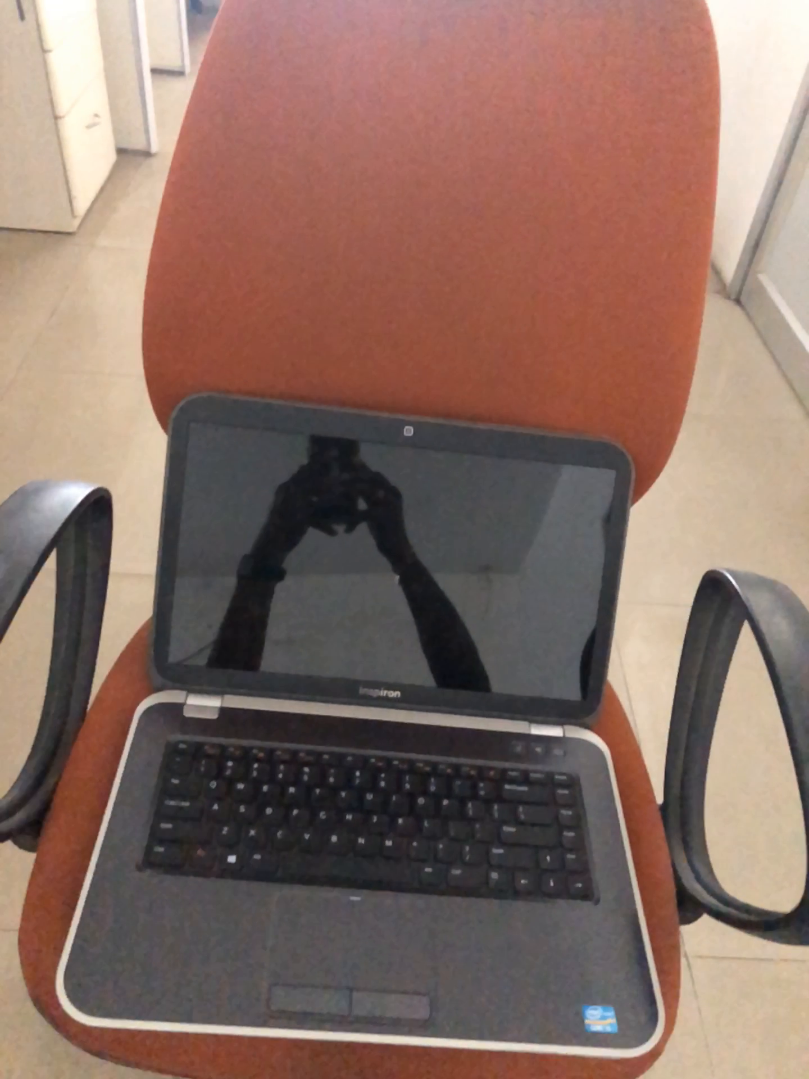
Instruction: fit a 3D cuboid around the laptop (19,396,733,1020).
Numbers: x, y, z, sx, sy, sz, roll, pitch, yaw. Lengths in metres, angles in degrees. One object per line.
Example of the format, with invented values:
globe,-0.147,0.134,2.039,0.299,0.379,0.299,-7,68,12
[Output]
laptop,-0.015,0.093,0.622,0.352,0.173,0.352,6,43,-1
